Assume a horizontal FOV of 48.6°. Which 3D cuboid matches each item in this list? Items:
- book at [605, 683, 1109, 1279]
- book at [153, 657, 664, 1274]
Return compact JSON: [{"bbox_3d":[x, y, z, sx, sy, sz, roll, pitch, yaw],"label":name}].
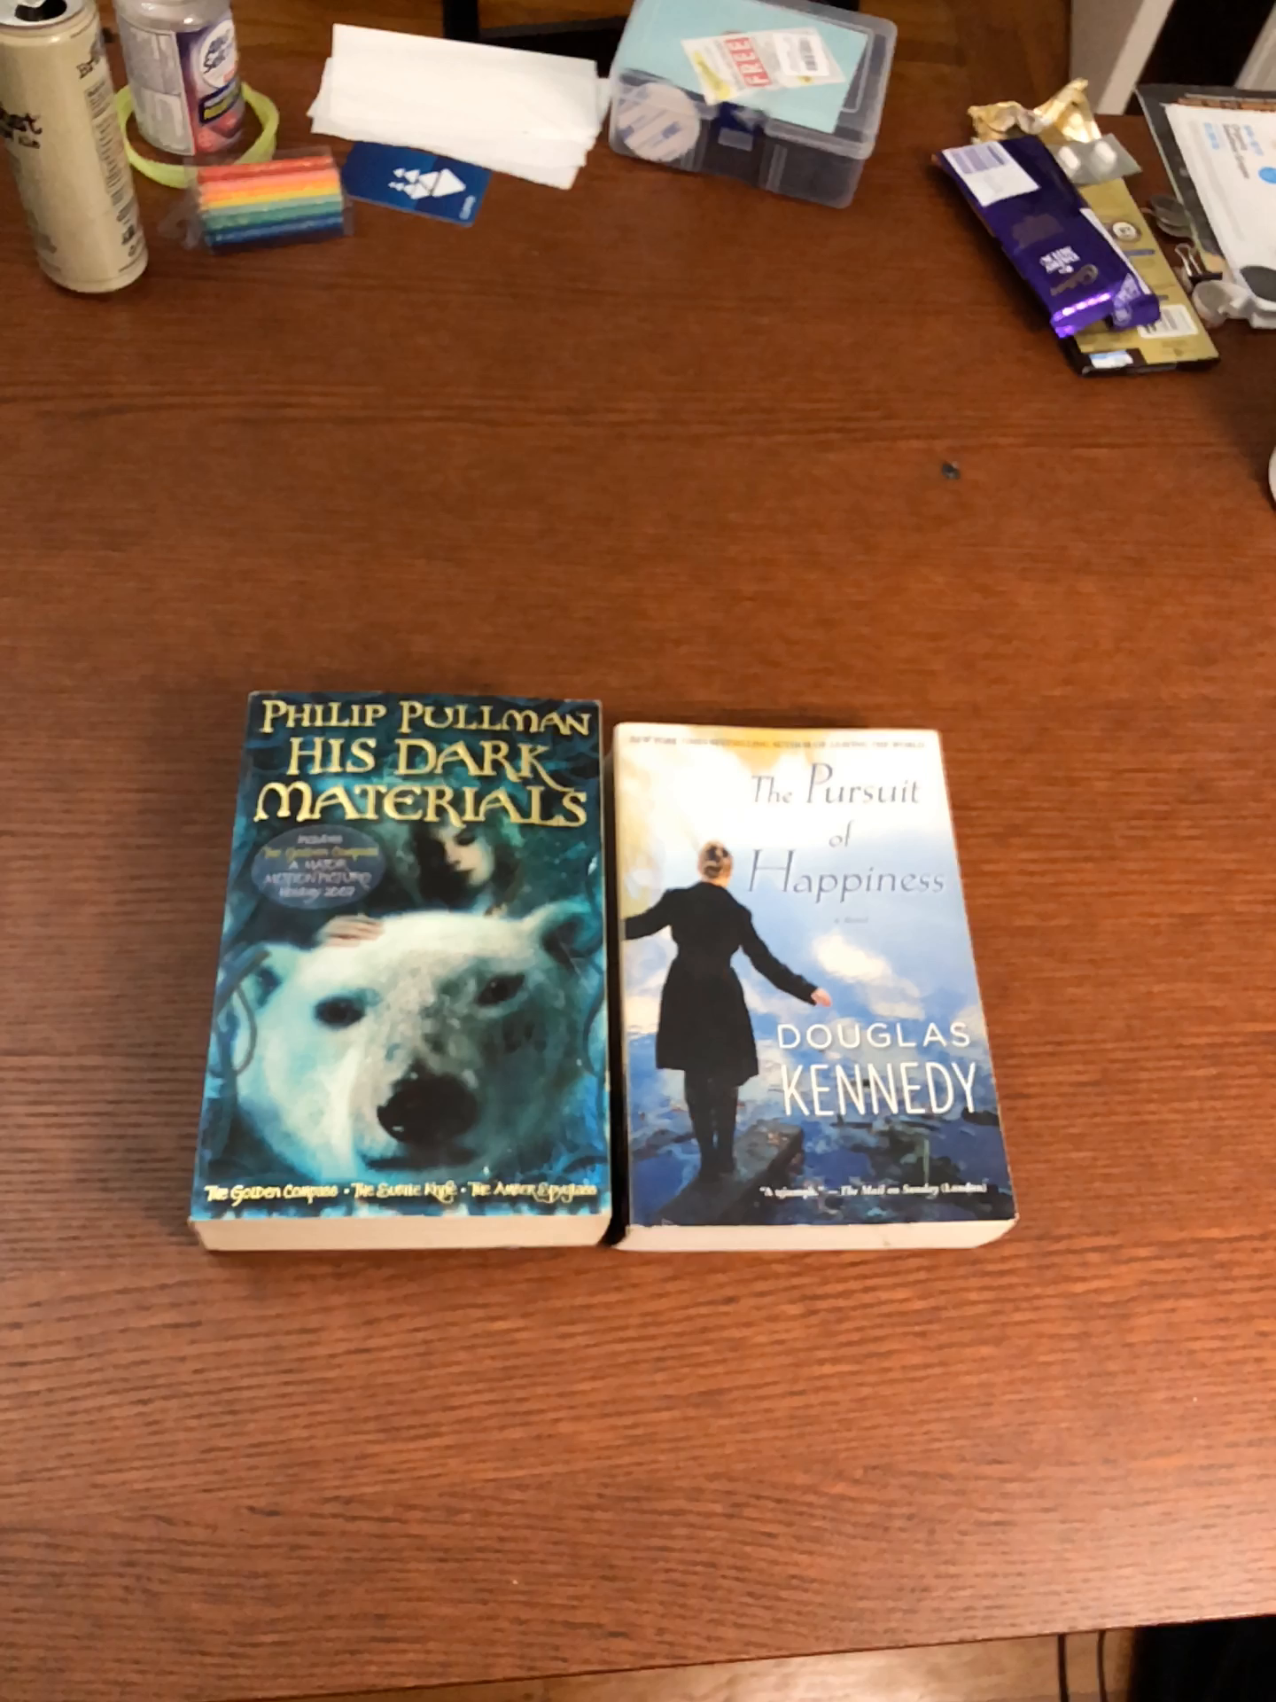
[{"bbox_3d":[0.081,0.047,0.598,0.180,0.040,0.251,1,62,-7],"label":"book"},{"bbox_3d":[-0.088,0.040,0.585,0.180,0.050,0.251,1,62,-7],"label":"book"}]
